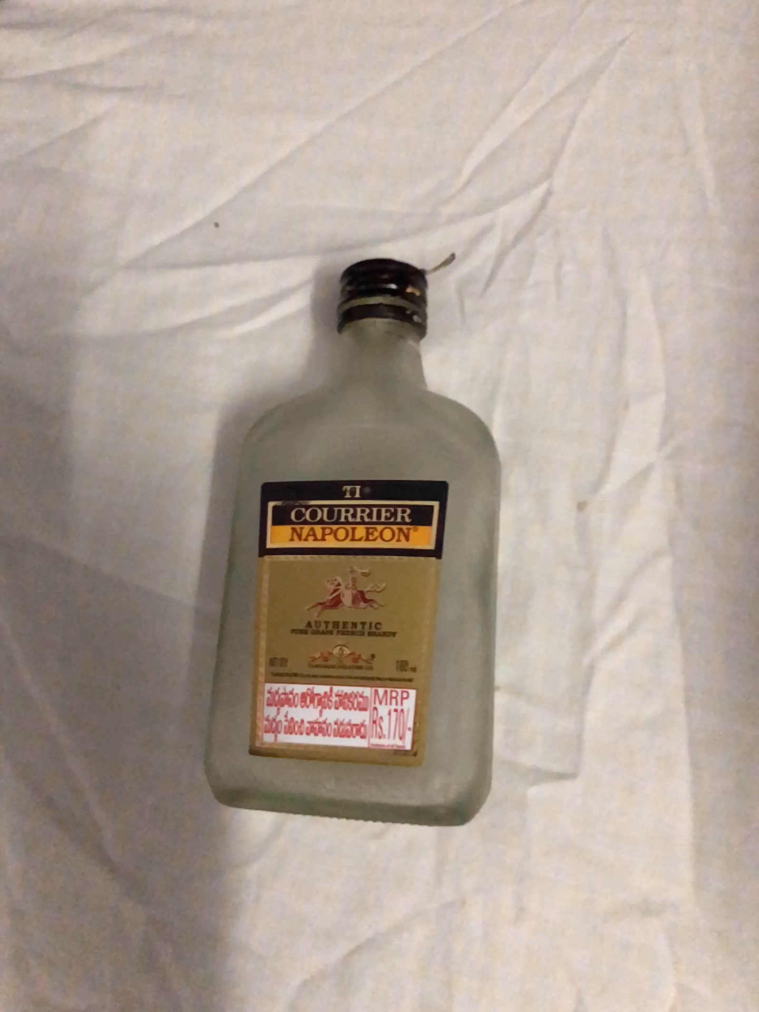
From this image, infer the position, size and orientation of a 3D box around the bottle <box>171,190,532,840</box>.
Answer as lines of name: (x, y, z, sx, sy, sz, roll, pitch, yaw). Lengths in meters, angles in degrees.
bottle: (-0.001, -0.001, 0.230, 0.080, 0.040, 0.160, 1, 76, 11)
